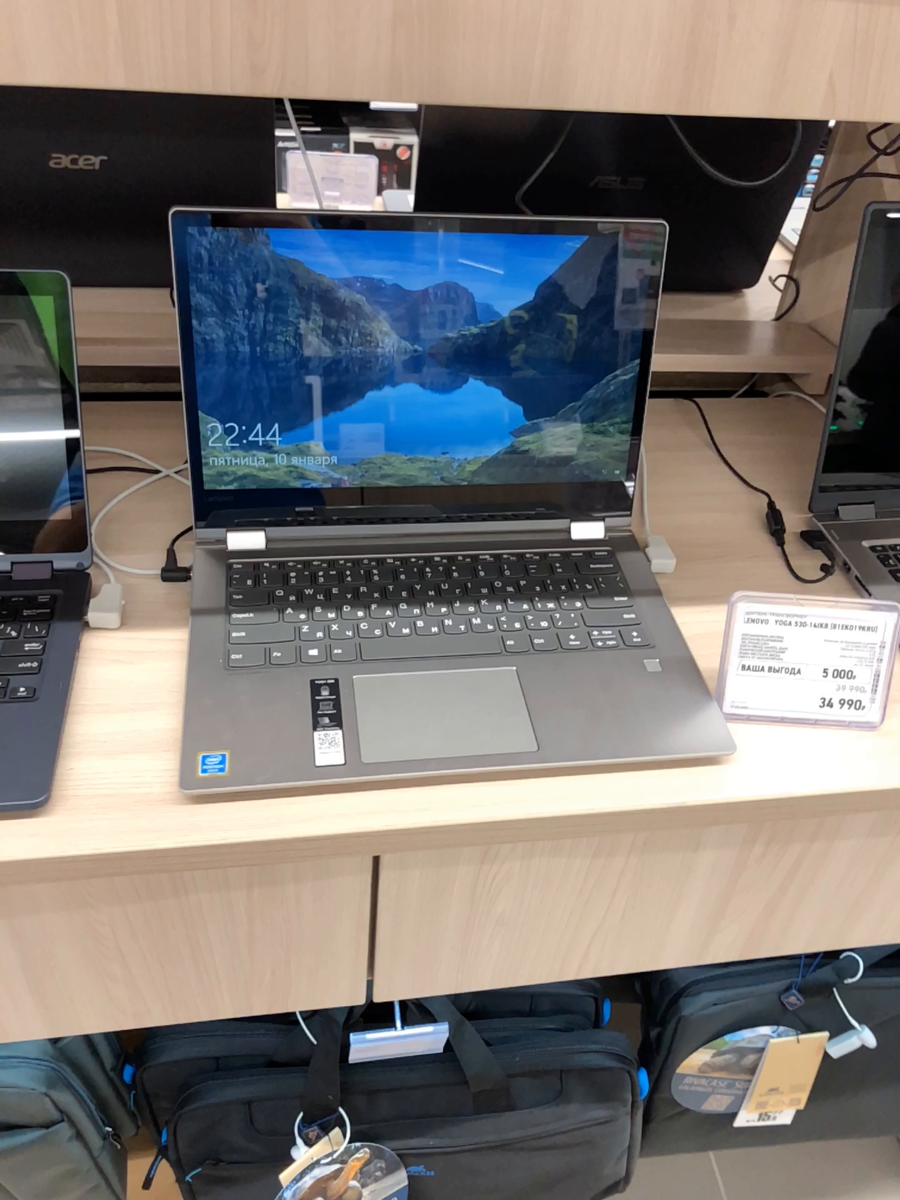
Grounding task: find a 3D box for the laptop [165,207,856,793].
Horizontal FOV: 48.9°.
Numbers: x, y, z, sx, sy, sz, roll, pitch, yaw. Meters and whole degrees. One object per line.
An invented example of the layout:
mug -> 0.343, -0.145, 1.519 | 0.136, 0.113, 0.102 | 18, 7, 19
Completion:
laptop -> -0.002, -0.075, 0.600 | 0.311, 0.205, 0.288 | -2, 40, -13
